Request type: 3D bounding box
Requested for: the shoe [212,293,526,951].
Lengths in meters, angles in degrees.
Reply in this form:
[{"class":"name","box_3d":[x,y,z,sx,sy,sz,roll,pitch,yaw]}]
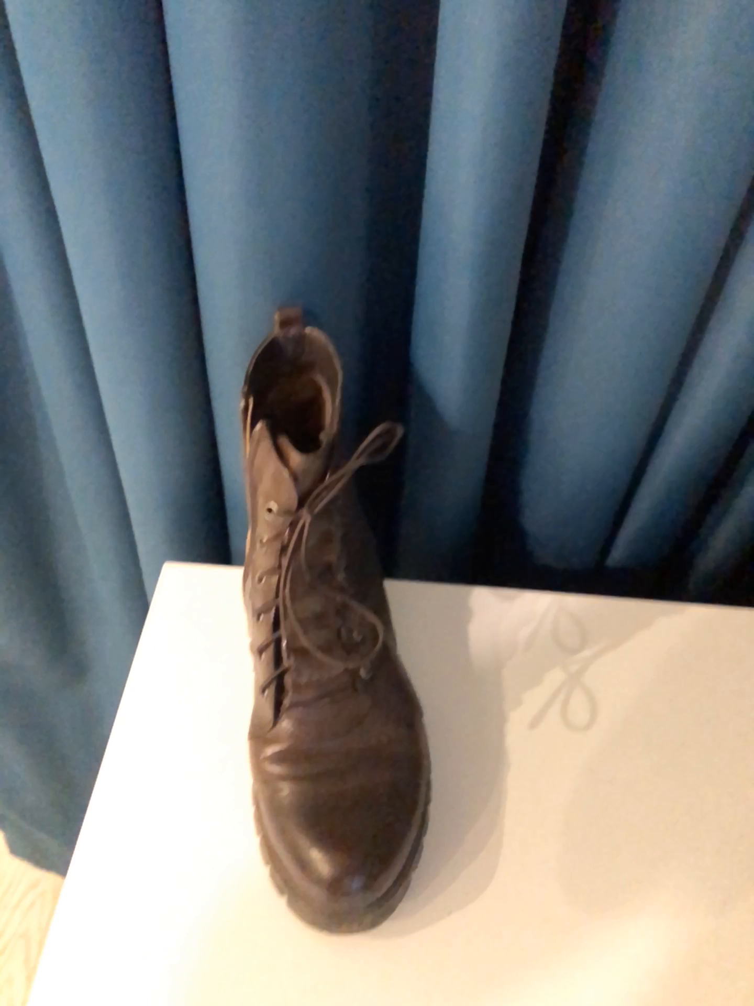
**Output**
[{"class":"shoe","box_3d":[-0.022,0.044,0.417,0.100,0.169,0.272,-4,46,-7]}]
